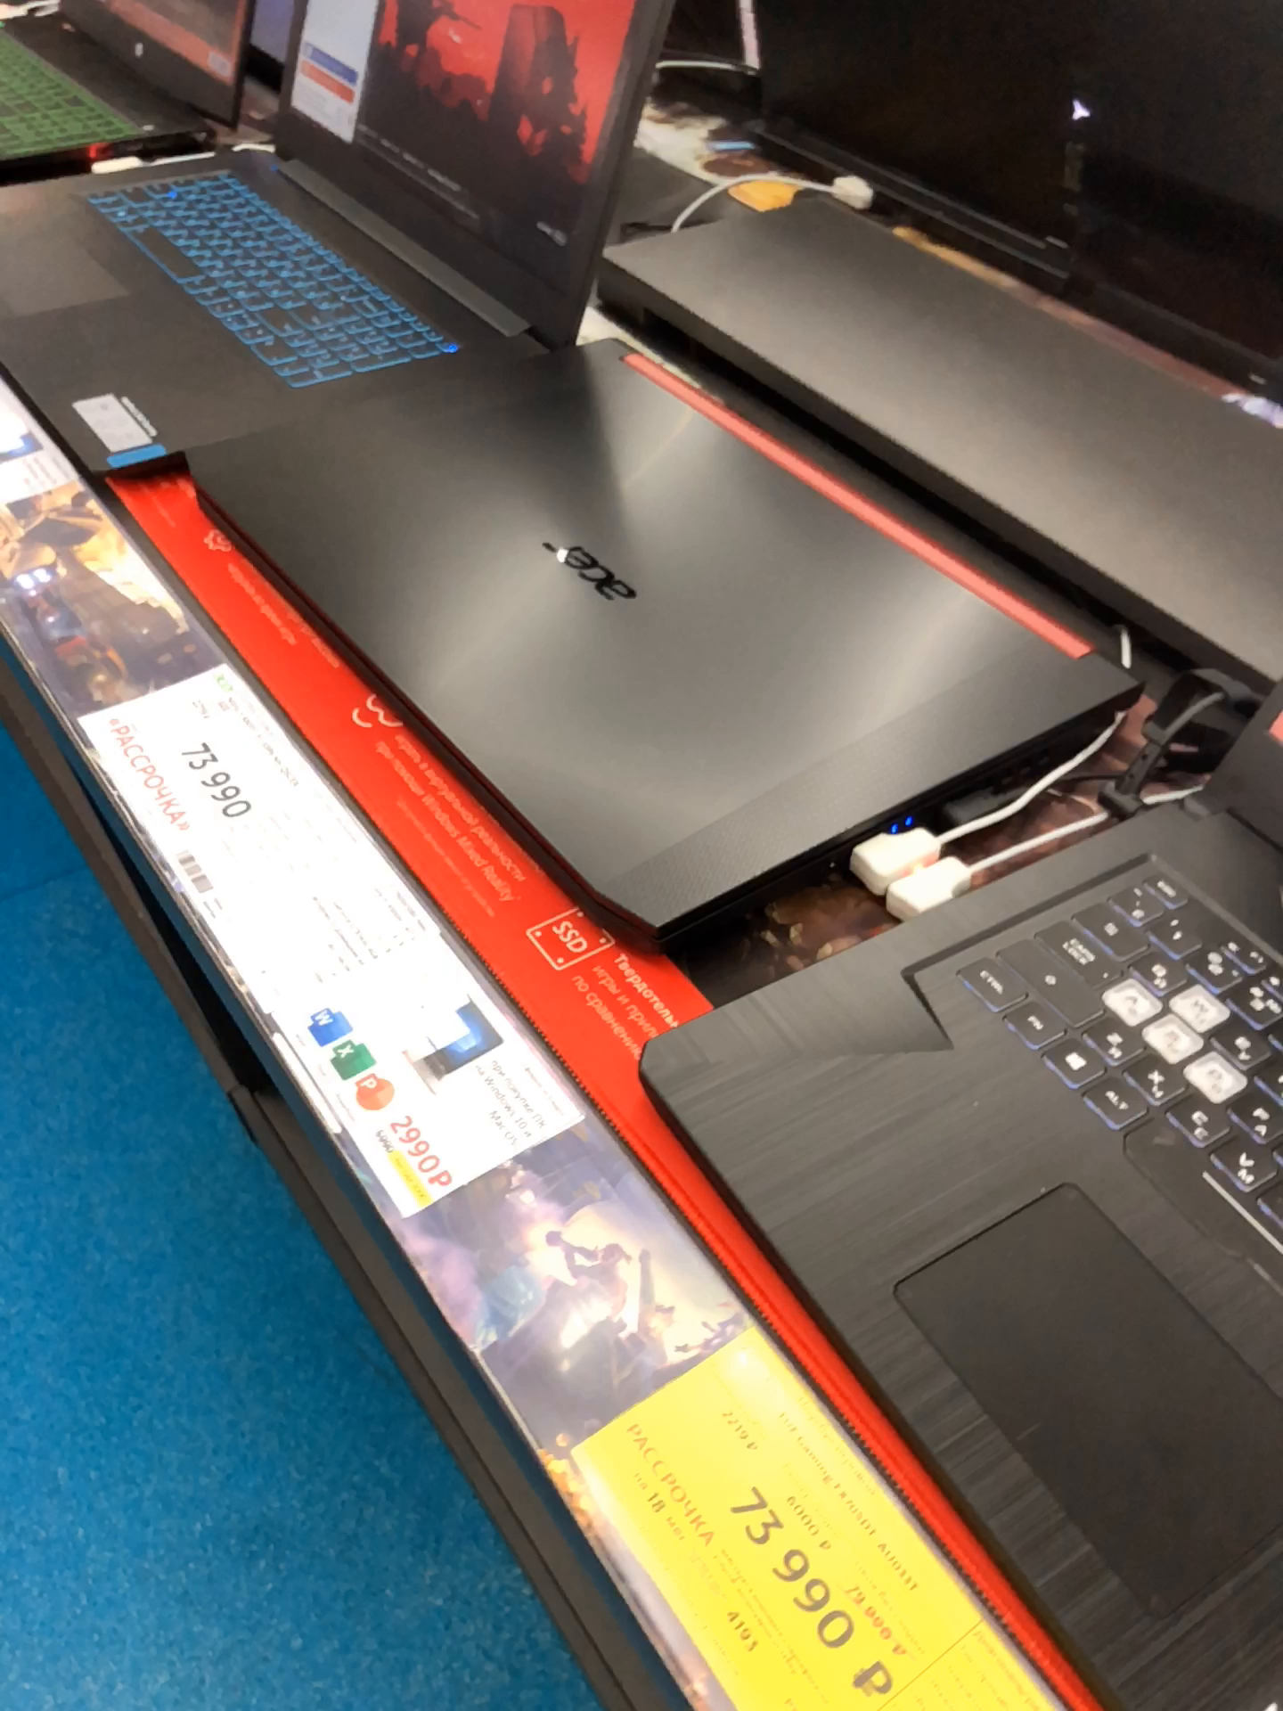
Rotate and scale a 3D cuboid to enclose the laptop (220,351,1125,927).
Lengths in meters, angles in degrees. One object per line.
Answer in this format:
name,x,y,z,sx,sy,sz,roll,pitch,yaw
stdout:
laptop,0.001,-0.134,0.664,0.255,0.002,0.371,-25,52,-28
